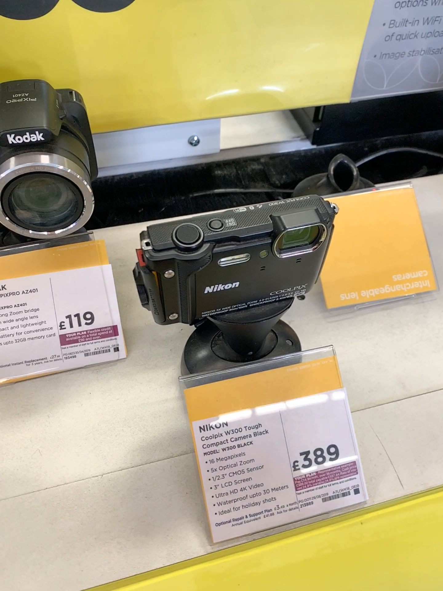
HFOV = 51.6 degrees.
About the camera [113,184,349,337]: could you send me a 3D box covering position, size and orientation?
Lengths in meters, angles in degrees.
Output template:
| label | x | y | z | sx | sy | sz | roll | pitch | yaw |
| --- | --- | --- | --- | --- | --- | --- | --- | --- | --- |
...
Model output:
| label | x | y | z | sx | sy | sz | roll | pitch | yaw |
| --- | --- | --- | --- | --- | --- | --- | --- | --- | --- |
| camera | 0.005 | -0.019 | 0.268 | 0.120 | 0.069 | 0.030 | -11 | 54 | -11 |
